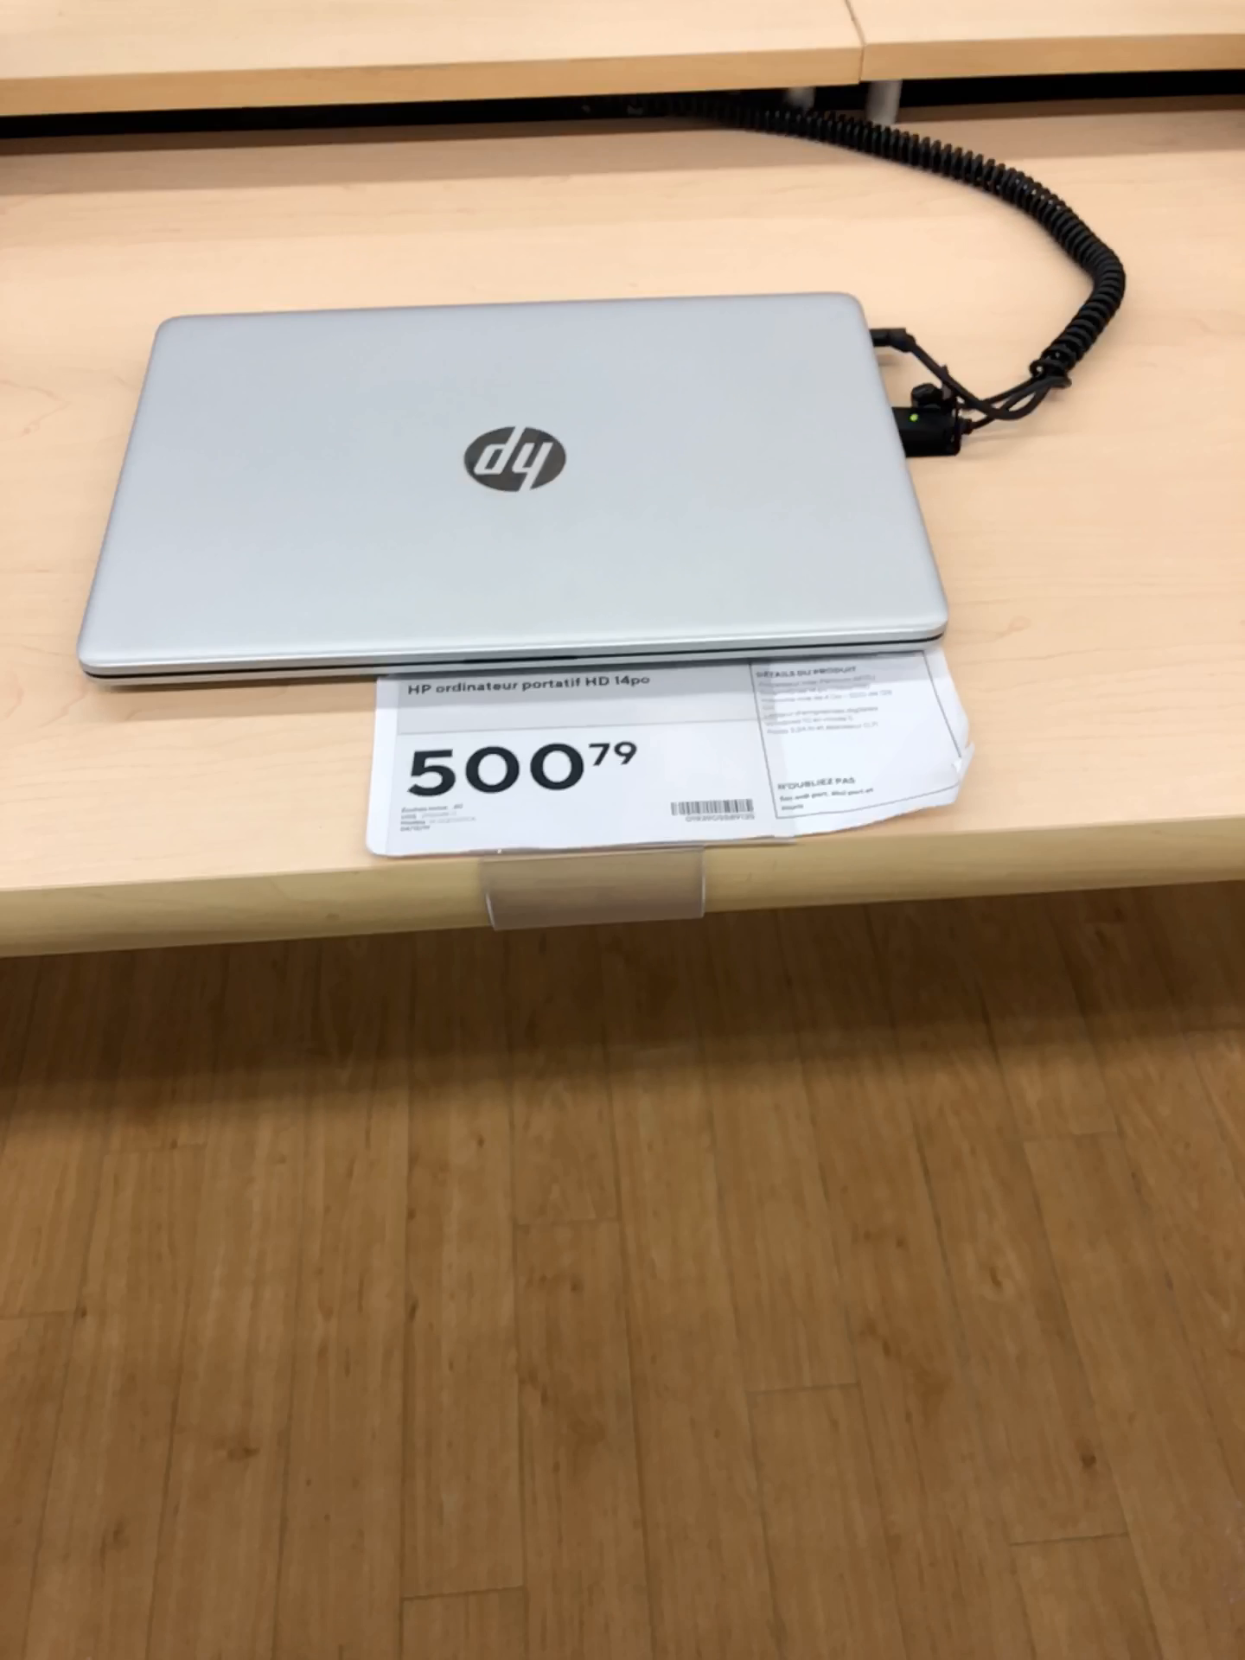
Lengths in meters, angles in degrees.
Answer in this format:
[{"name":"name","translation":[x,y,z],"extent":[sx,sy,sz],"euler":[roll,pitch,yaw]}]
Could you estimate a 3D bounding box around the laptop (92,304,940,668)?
[{"name":"laptop","translation":[-0.042,-0.151,0.565],"extent":[0.309,0.004,0.206],"euler":[-3,53,-4]}]
